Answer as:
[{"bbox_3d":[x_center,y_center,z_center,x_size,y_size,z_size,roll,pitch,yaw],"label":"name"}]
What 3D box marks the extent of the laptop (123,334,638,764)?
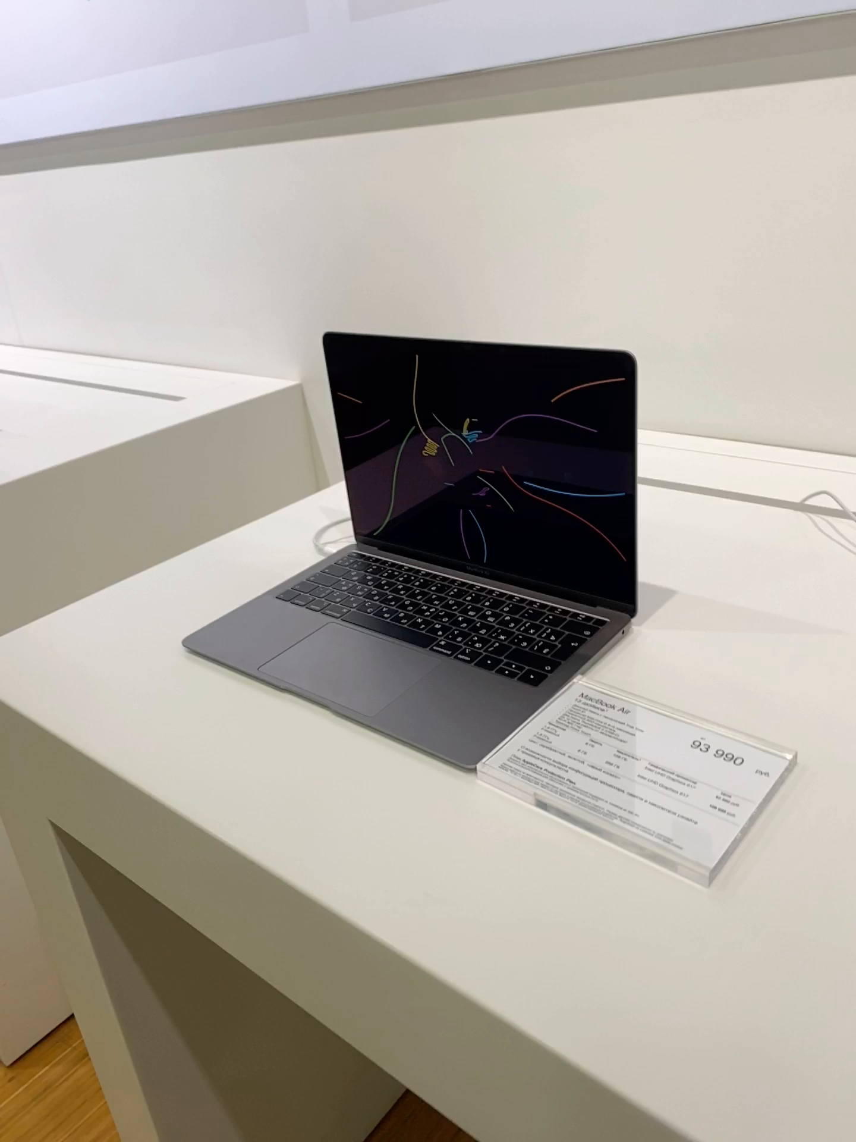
[{"bbox_3d":[-0.029,-0.048,0.671,0.302,0.211,0.225,14,31,37],"label":"laptop"}]
